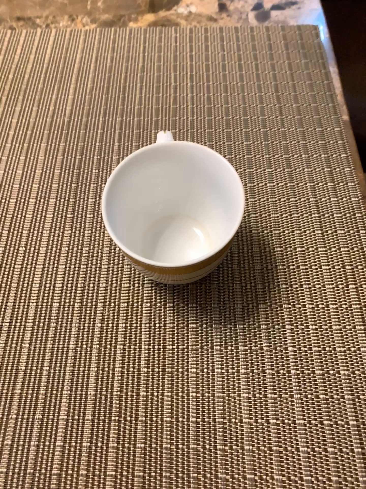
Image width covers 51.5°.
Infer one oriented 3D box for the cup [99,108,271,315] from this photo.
[{"bbox_3d":[-0.003,-0.020,0.231,0.082,0.055,0.103,-7,63,-1],"label":"cup"}]
